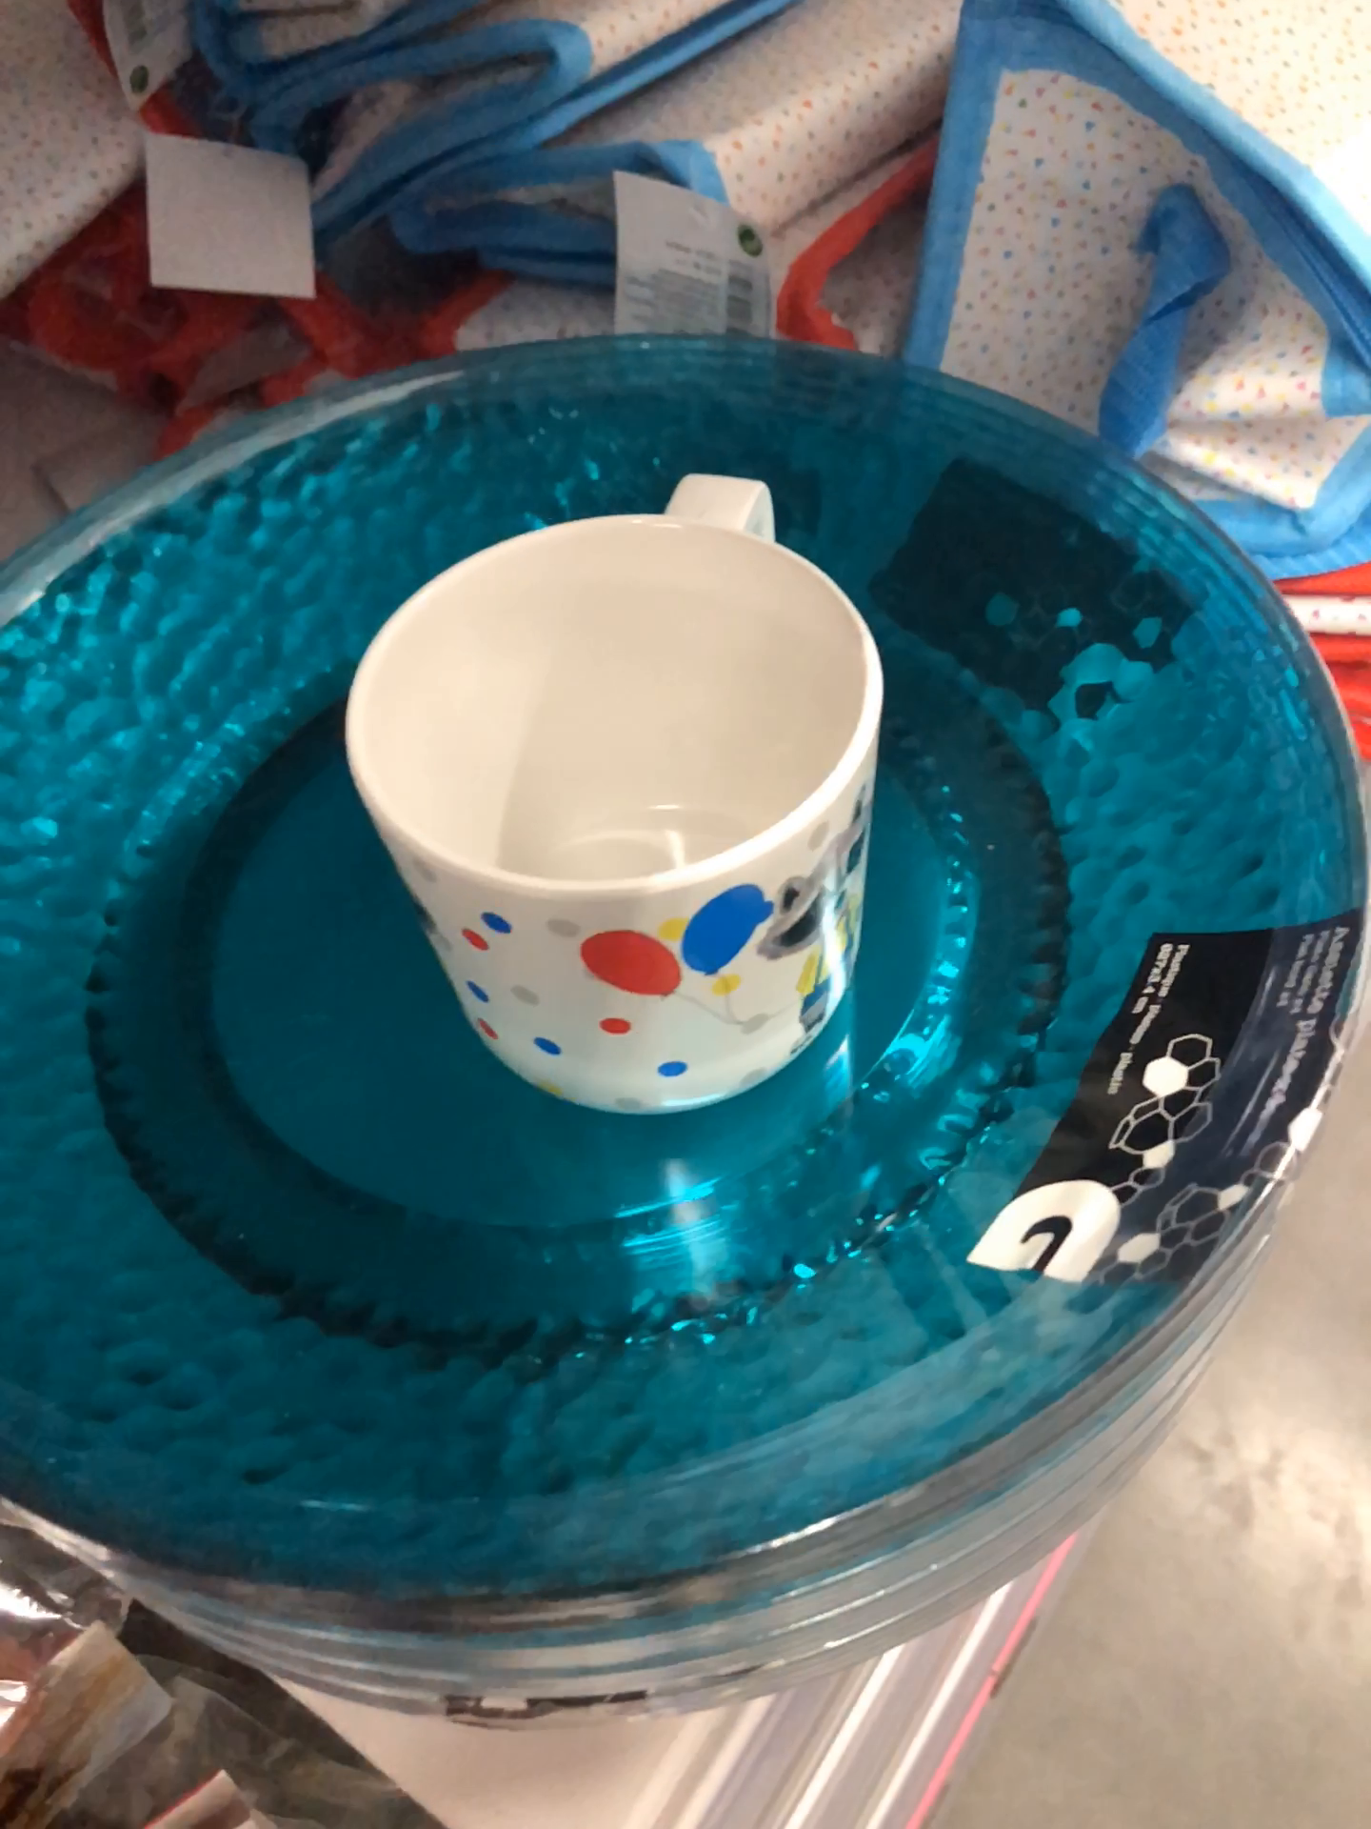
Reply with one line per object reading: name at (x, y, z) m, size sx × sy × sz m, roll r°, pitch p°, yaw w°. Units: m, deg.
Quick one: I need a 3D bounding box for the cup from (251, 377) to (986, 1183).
cup at (-0.002, -0.026, 0.246) m, size 0.080 × 0.059 × 0.110 m, roll 9°, pitch 53°, yaw 13°
